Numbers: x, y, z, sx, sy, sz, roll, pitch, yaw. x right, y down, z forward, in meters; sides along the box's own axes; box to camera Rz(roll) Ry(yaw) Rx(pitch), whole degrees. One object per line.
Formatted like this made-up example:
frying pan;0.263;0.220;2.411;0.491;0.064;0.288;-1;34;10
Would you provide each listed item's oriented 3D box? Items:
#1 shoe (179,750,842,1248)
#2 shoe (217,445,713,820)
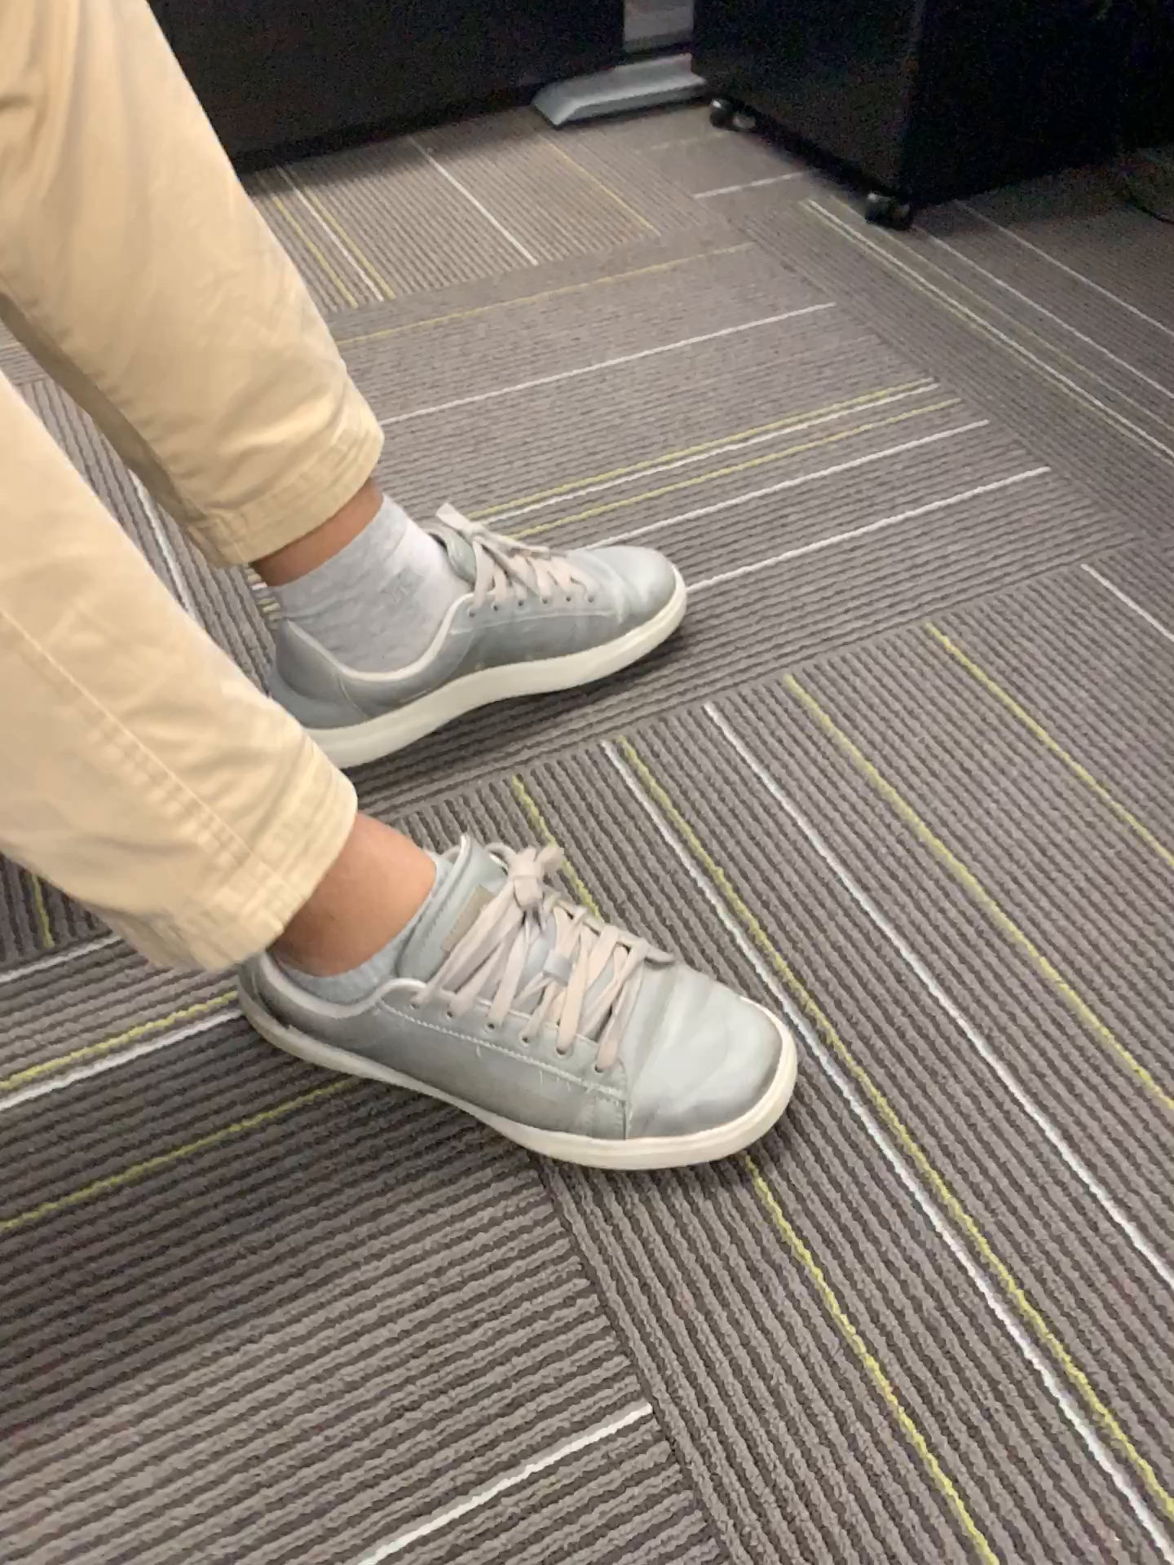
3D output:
shoe;-0.031;0.102;0.588;0.270;0.139;0.121;13;49;12
shoe;-0.073;-0.103;0.782;0.280;0.109;0.121;-22;51;-18
